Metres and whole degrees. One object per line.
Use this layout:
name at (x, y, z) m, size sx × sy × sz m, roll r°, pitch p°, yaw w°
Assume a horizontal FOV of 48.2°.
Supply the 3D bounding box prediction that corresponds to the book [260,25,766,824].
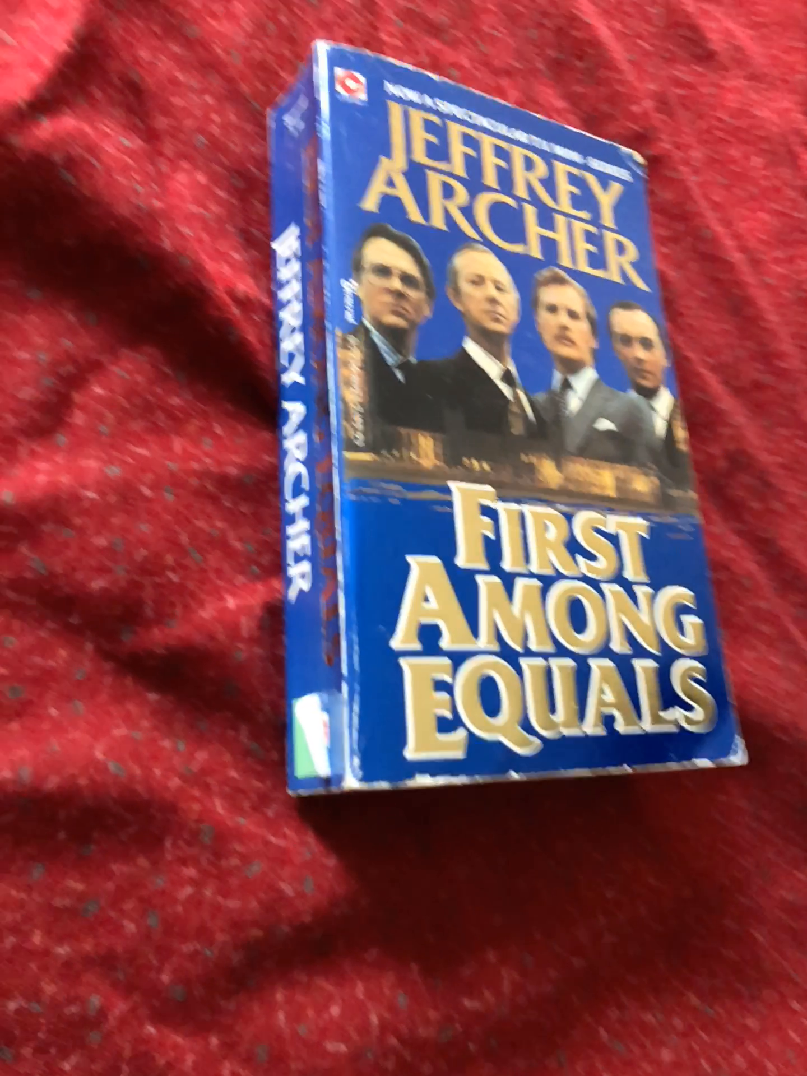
book at (0.024, -0.024, 0.228) m, size 0.111 × 0.038 × 0.177 m, roll 6°, pitch 72°, yaw -30°
